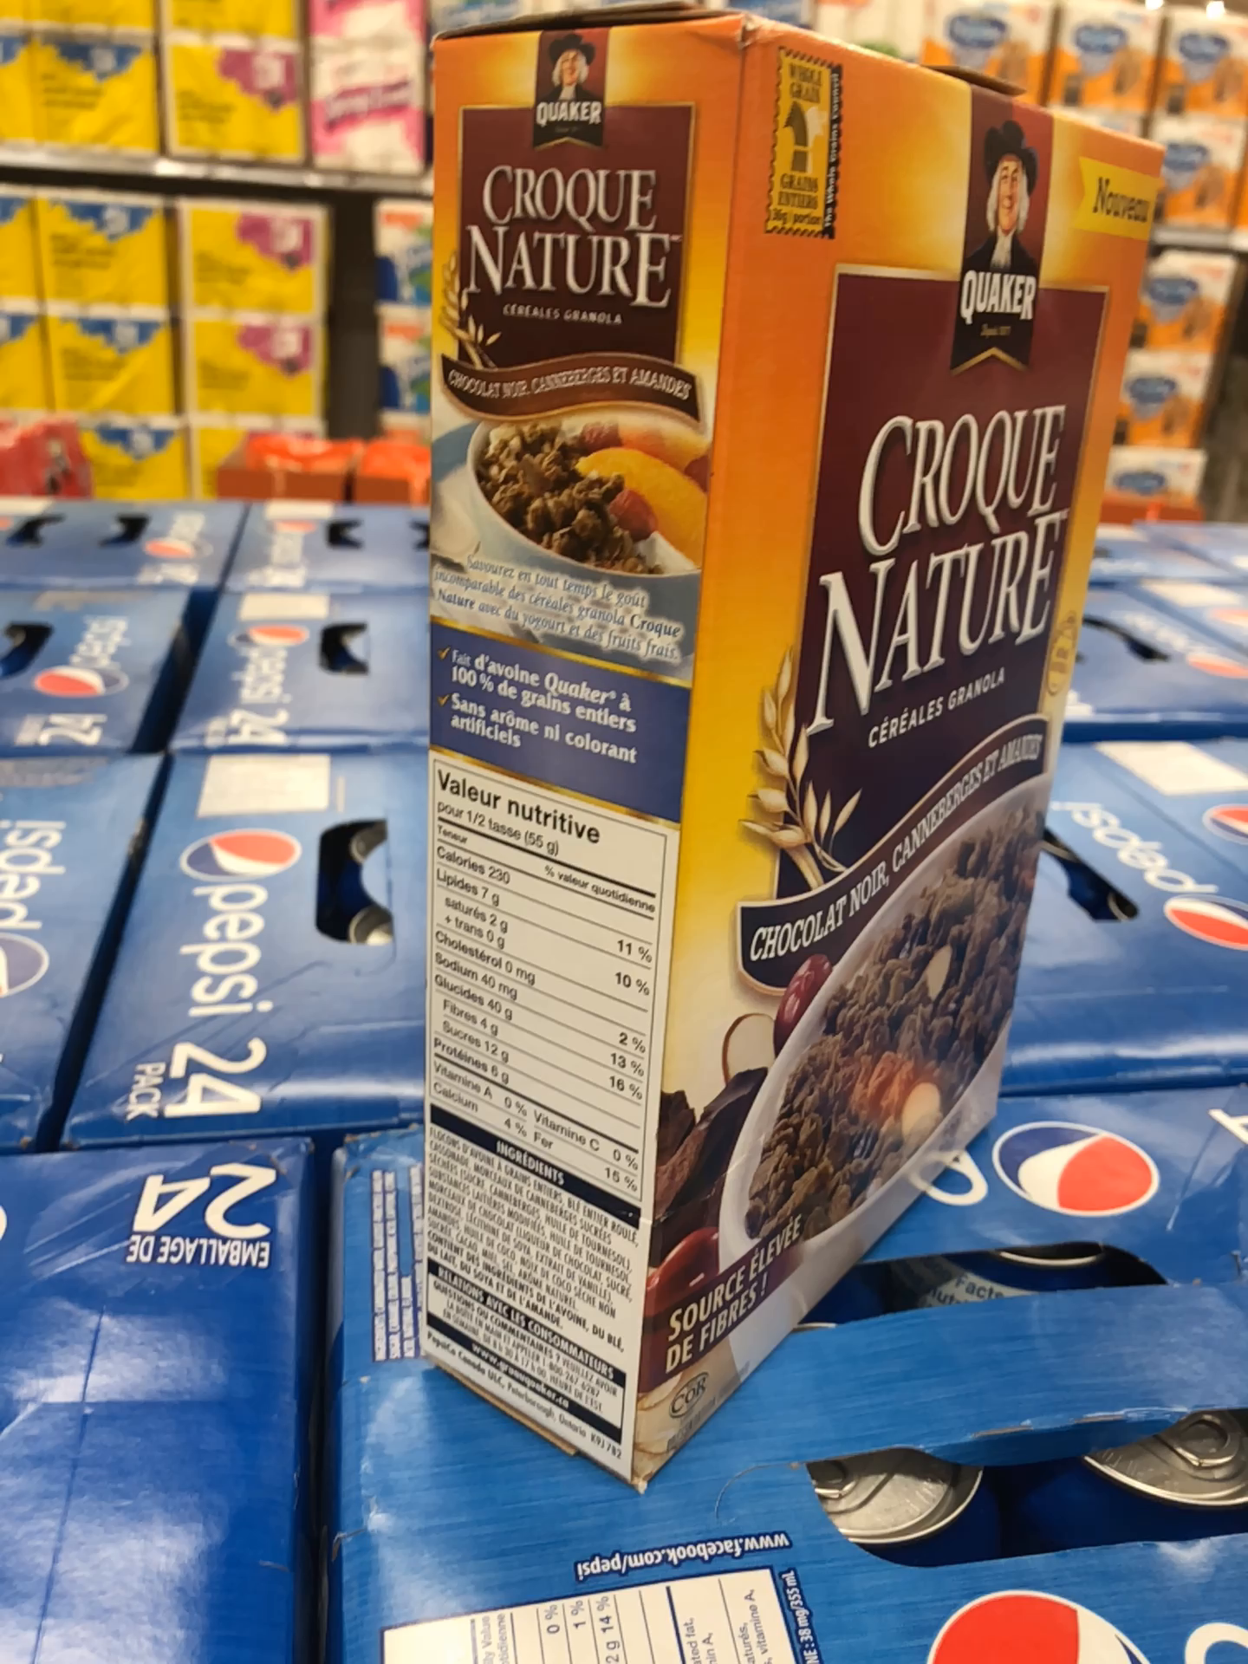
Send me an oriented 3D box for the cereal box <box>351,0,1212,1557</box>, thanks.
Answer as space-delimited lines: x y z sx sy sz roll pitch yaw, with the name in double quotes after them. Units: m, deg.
0.031 -0.015 0.266 0.060 0.229 0.160 20 28 33 "cereal box"
